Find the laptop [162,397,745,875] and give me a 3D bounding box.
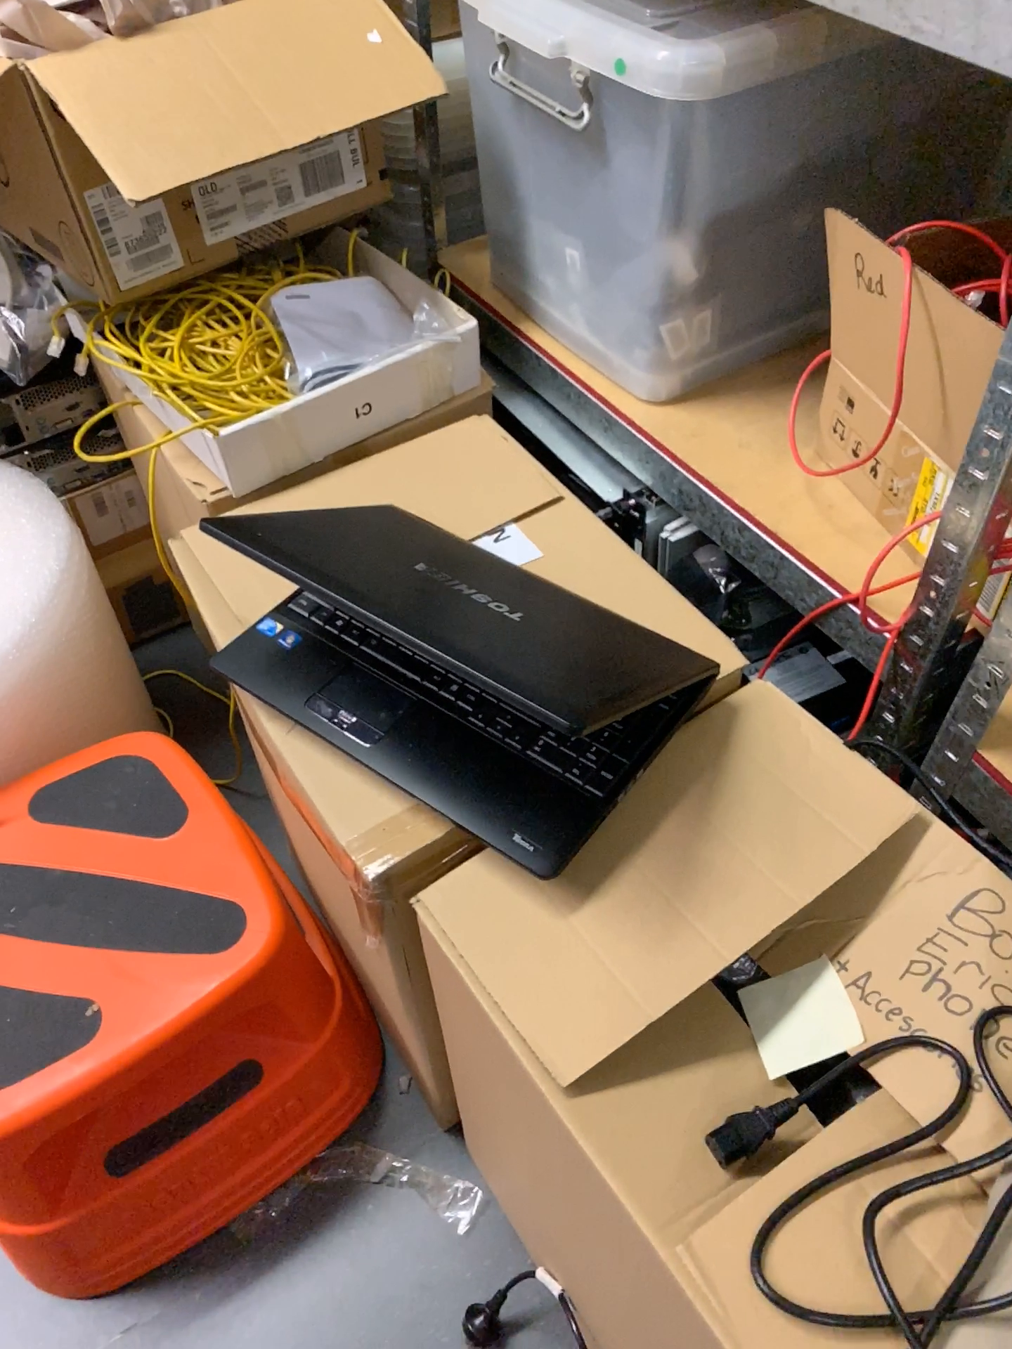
[{"bbox_3d":[-0.041,-0.047,0.820,0.355,0.135,0.231,29,57,23],"label":"laptop"}]
